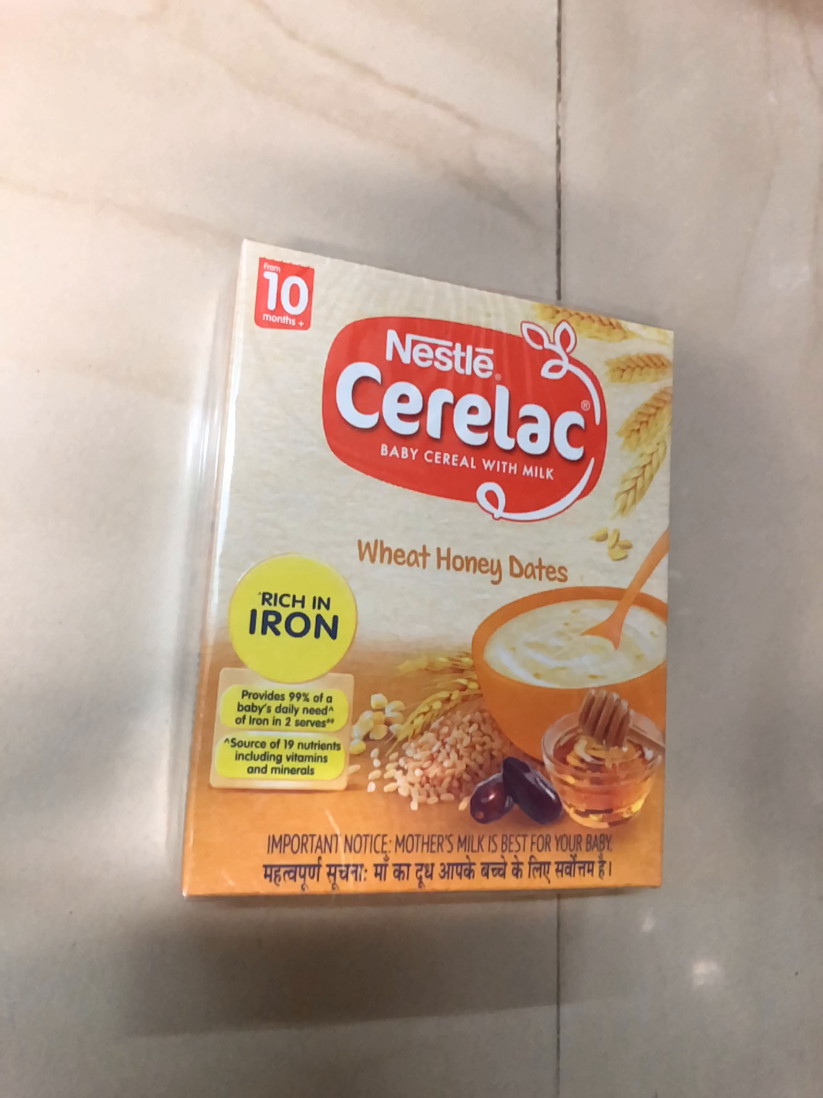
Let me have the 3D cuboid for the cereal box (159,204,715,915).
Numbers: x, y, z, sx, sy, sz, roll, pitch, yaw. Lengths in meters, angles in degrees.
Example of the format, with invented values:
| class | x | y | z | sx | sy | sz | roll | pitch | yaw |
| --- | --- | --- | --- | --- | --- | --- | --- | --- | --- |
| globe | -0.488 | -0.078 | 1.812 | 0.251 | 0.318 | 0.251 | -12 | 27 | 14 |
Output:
| class | x | y | z | sx | sy | sz | roll | pitch | yaw |
| --- | --- | --- | --- | --- | --- | --- | --- | --- | --- |
| cereal box | 0.012 | 0.009 | 0.297 | 0.160 | 0.060 | 0.190 | 6 | 81 | -20 |
